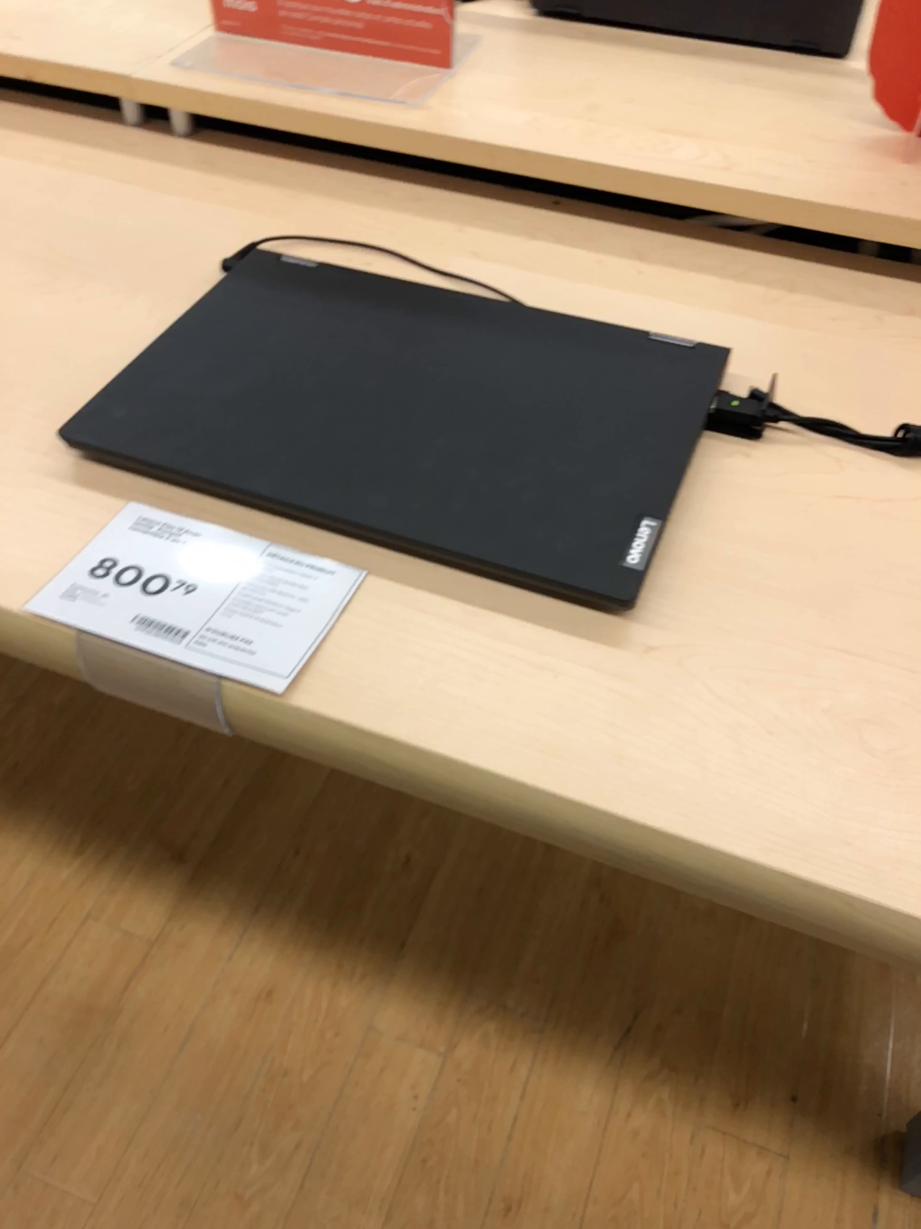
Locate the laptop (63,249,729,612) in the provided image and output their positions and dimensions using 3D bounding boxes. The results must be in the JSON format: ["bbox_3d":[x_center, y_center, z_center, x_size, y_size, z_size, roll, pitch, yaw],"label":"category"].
[{"bbox_3d":[-0.029,-0.125,0.598,0.326,0.009,0.212,17,52,13],"label":"laptop"}]
